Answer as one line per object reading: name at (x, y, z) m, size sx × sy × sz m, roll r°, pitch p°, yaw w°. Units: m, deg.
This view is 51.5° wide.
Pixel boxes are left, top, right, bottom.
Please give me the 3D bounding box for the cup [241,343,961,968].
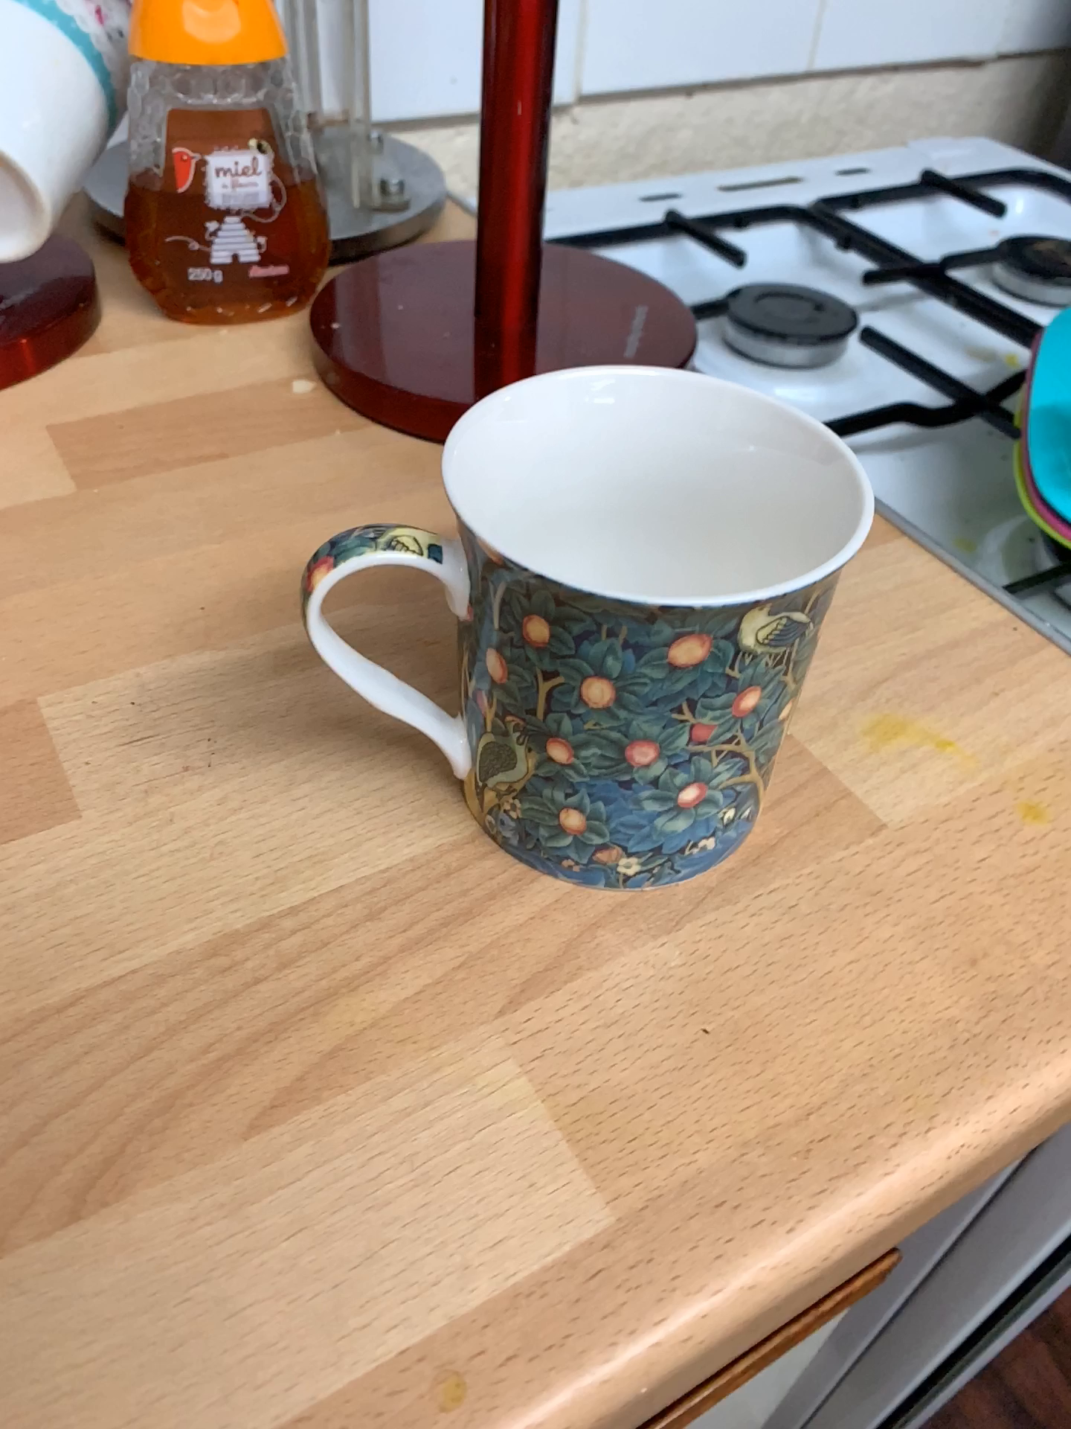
cup at (0.003, -0.017, 0.245) m, size 0.120 × 0.089 × 0.091 m, roll -6°, pitch 45°, yaw -12°
